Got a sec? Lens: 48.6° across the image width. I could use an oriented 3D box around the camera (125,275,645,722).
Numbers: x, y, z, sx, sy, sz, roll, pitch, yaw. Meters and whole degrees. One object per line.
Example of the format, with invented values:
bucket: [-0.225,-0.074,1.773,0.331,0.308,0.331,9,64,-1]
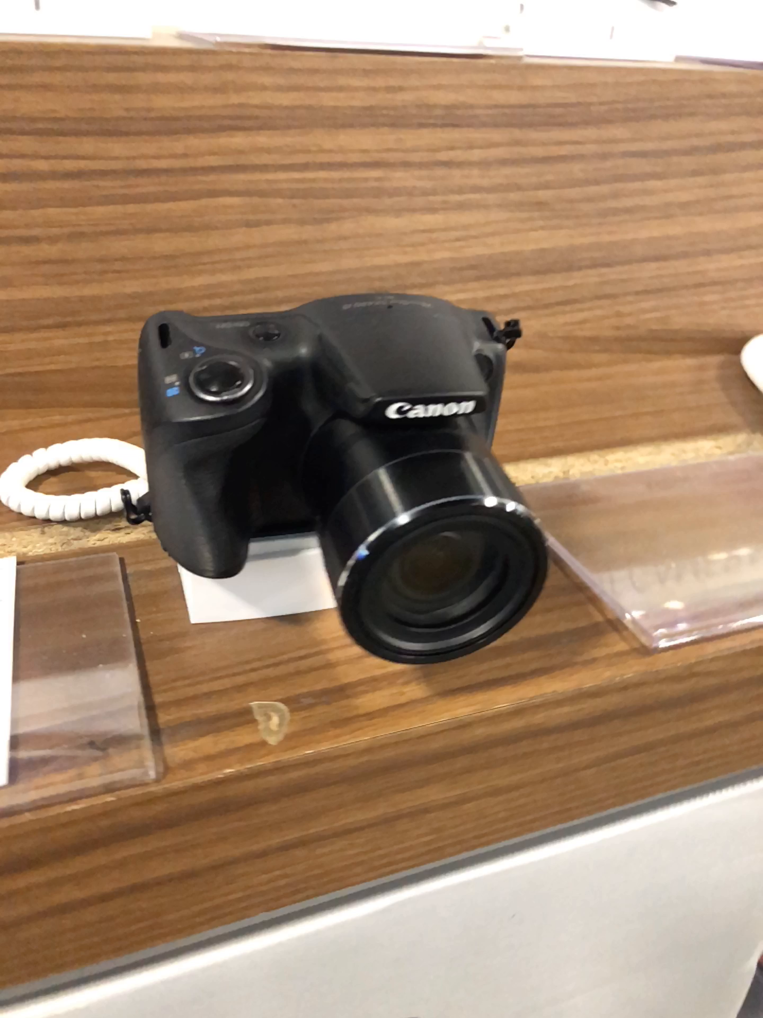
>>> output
camera: [-0.007,-0.012,0.219,0.100,0.070,0.091,-8,31,-18]
